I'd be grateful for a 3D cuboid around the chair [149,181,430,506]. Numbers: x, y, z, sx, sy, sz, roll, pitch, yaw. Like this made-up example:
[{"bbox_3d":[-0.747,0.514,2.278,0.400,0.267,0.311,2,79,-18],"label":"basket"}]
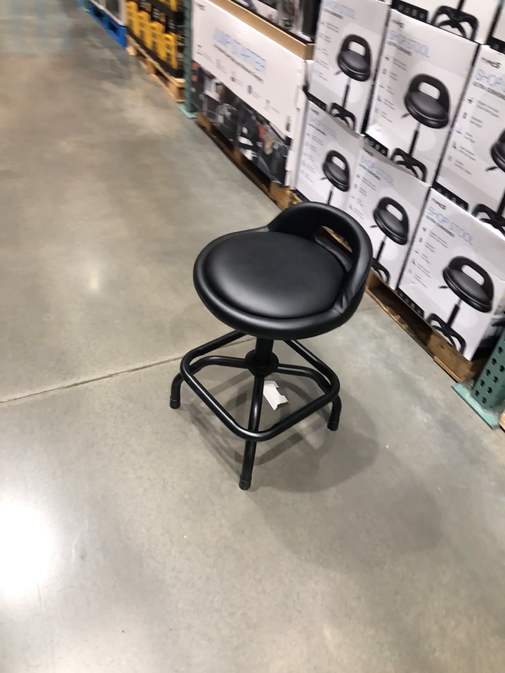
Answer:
[{"bbox_3d":[0.037,0.002,1.528,0.502,0.627,0.521,-12,44,-21],"label":"chair"}]
